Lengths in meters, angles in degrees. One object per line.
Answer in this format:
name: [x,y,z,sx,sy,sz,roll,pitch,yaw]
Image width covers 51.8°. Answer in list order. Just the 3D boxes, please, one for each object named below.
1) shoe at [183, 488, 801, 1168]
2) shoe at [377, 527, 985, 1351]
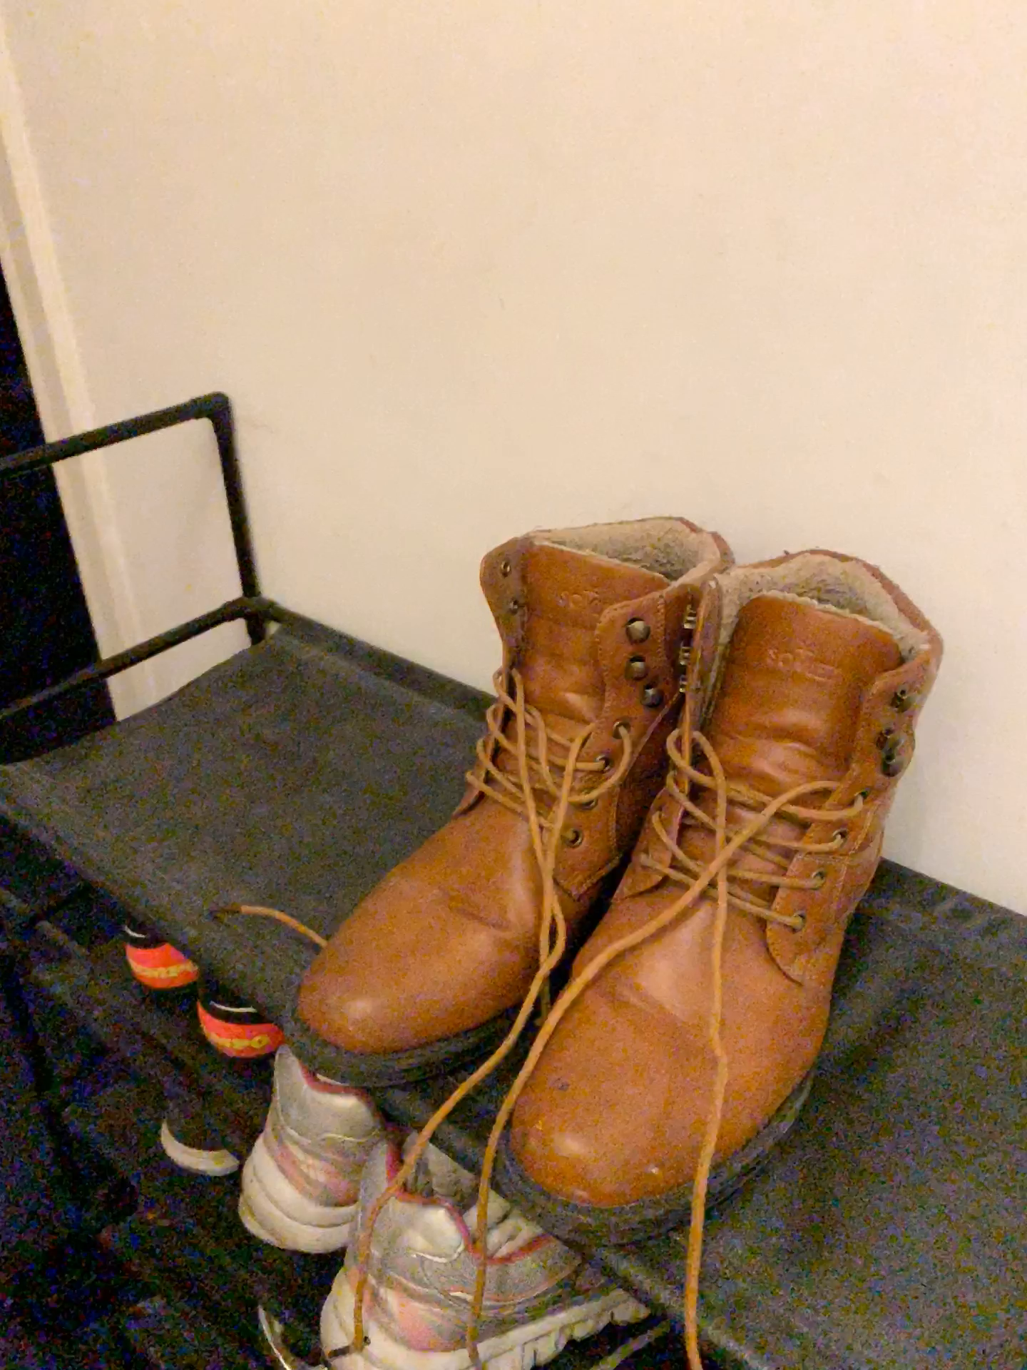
shoe: [0.007,0.048,0.513,0.271,0.198,0.111,-28,39,-36]
shoe: [0.078,0.079,0.429,0.110,0.198,0.241,20,37,33]
